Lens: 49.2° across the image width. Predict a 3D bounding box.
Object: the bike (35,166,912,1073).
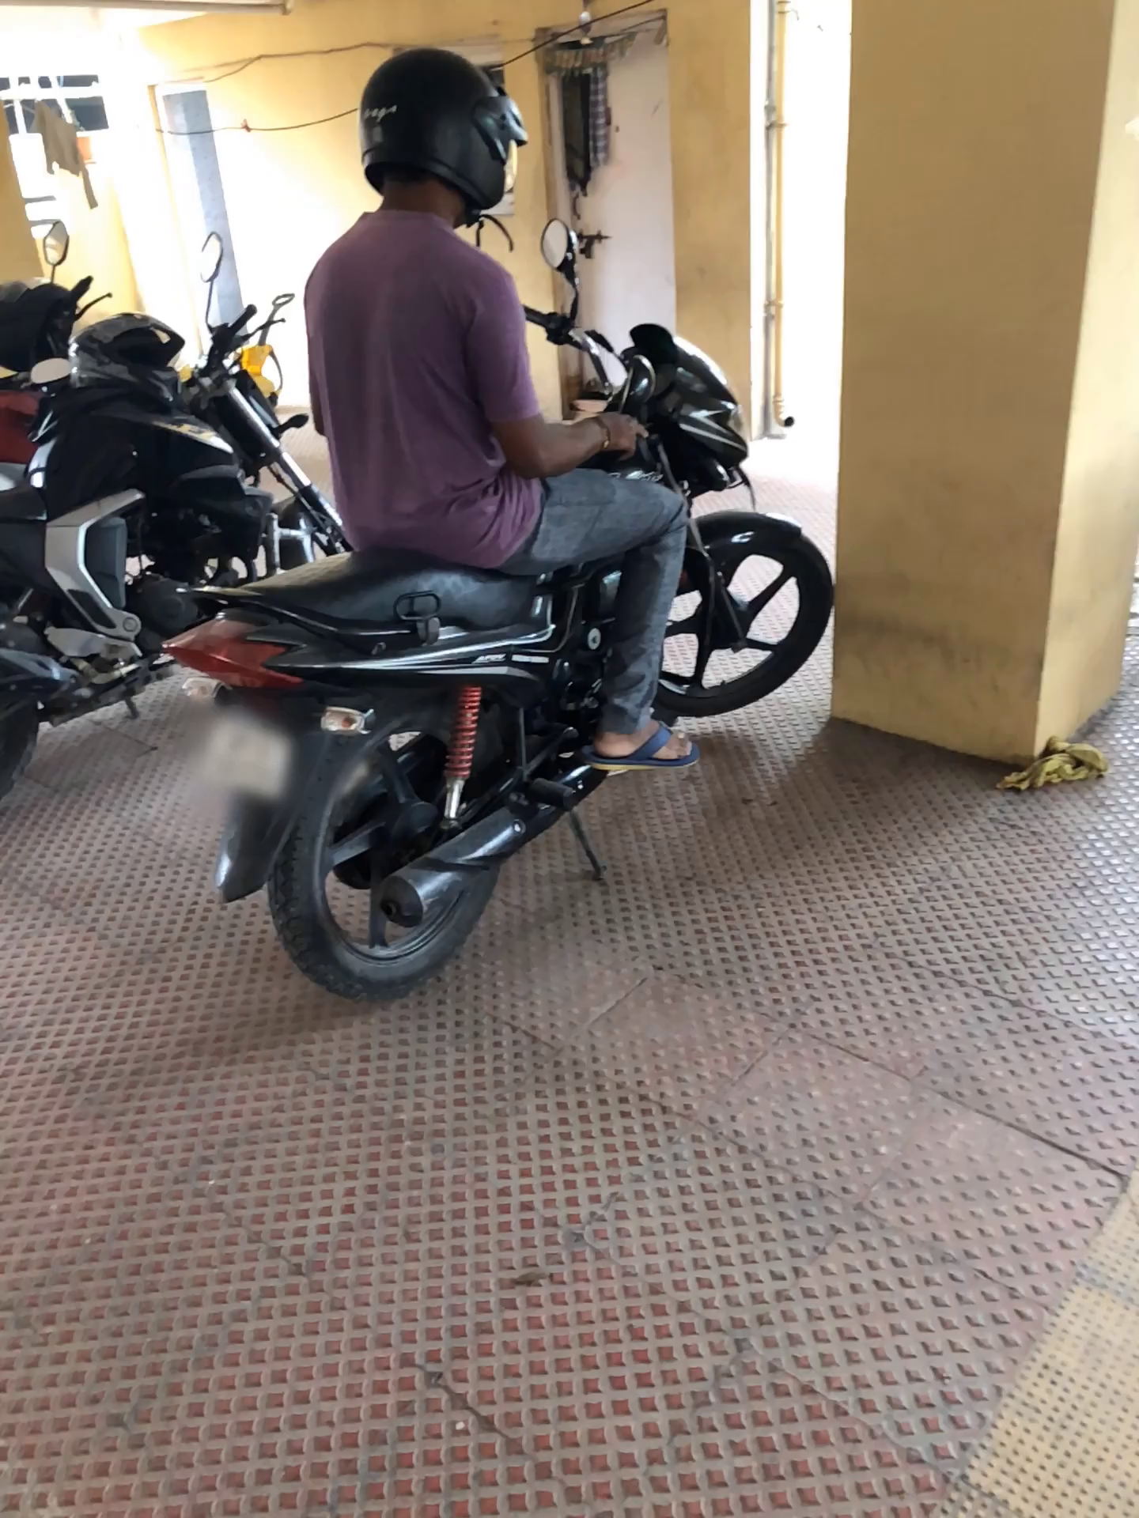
[{"bbox_3d":[-0.042,-0.424,2.540,0.633,1.063,1.649,19,40,38],"label":"bike"}]
